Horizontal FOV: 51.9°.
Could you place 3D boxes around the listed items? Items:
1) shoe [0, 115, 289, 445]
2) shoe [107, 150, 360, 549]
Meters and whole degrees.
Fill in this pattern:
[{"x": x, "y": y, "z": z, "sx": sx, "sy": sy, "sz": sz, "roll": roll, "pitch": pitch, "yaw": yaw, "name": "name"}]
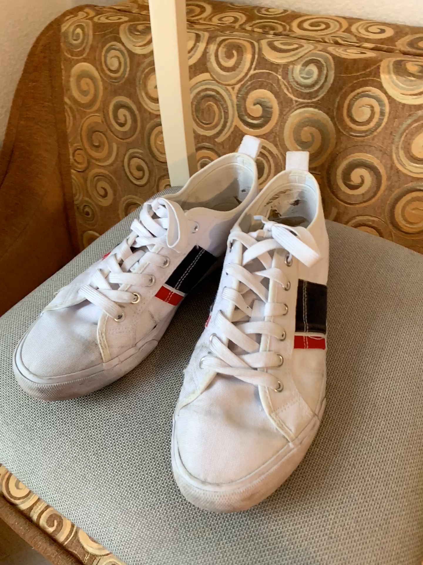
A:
[{"x": -0.065, "y": -0.021, "z": 0.383, "sx": 0.120, "sy": 0.090, "sz": 0.280, "roll": 33, "pitch": 63, "yaw": 28, "name": "shoe"}, {"x": 0.038, "y": 0.025, "z": 0.326, "sx": 0.110, "sy": 0.090, "sz": 0.271, "roll": 9, "pitch": 54, "yaw": 14, "name": "shoe"}]
